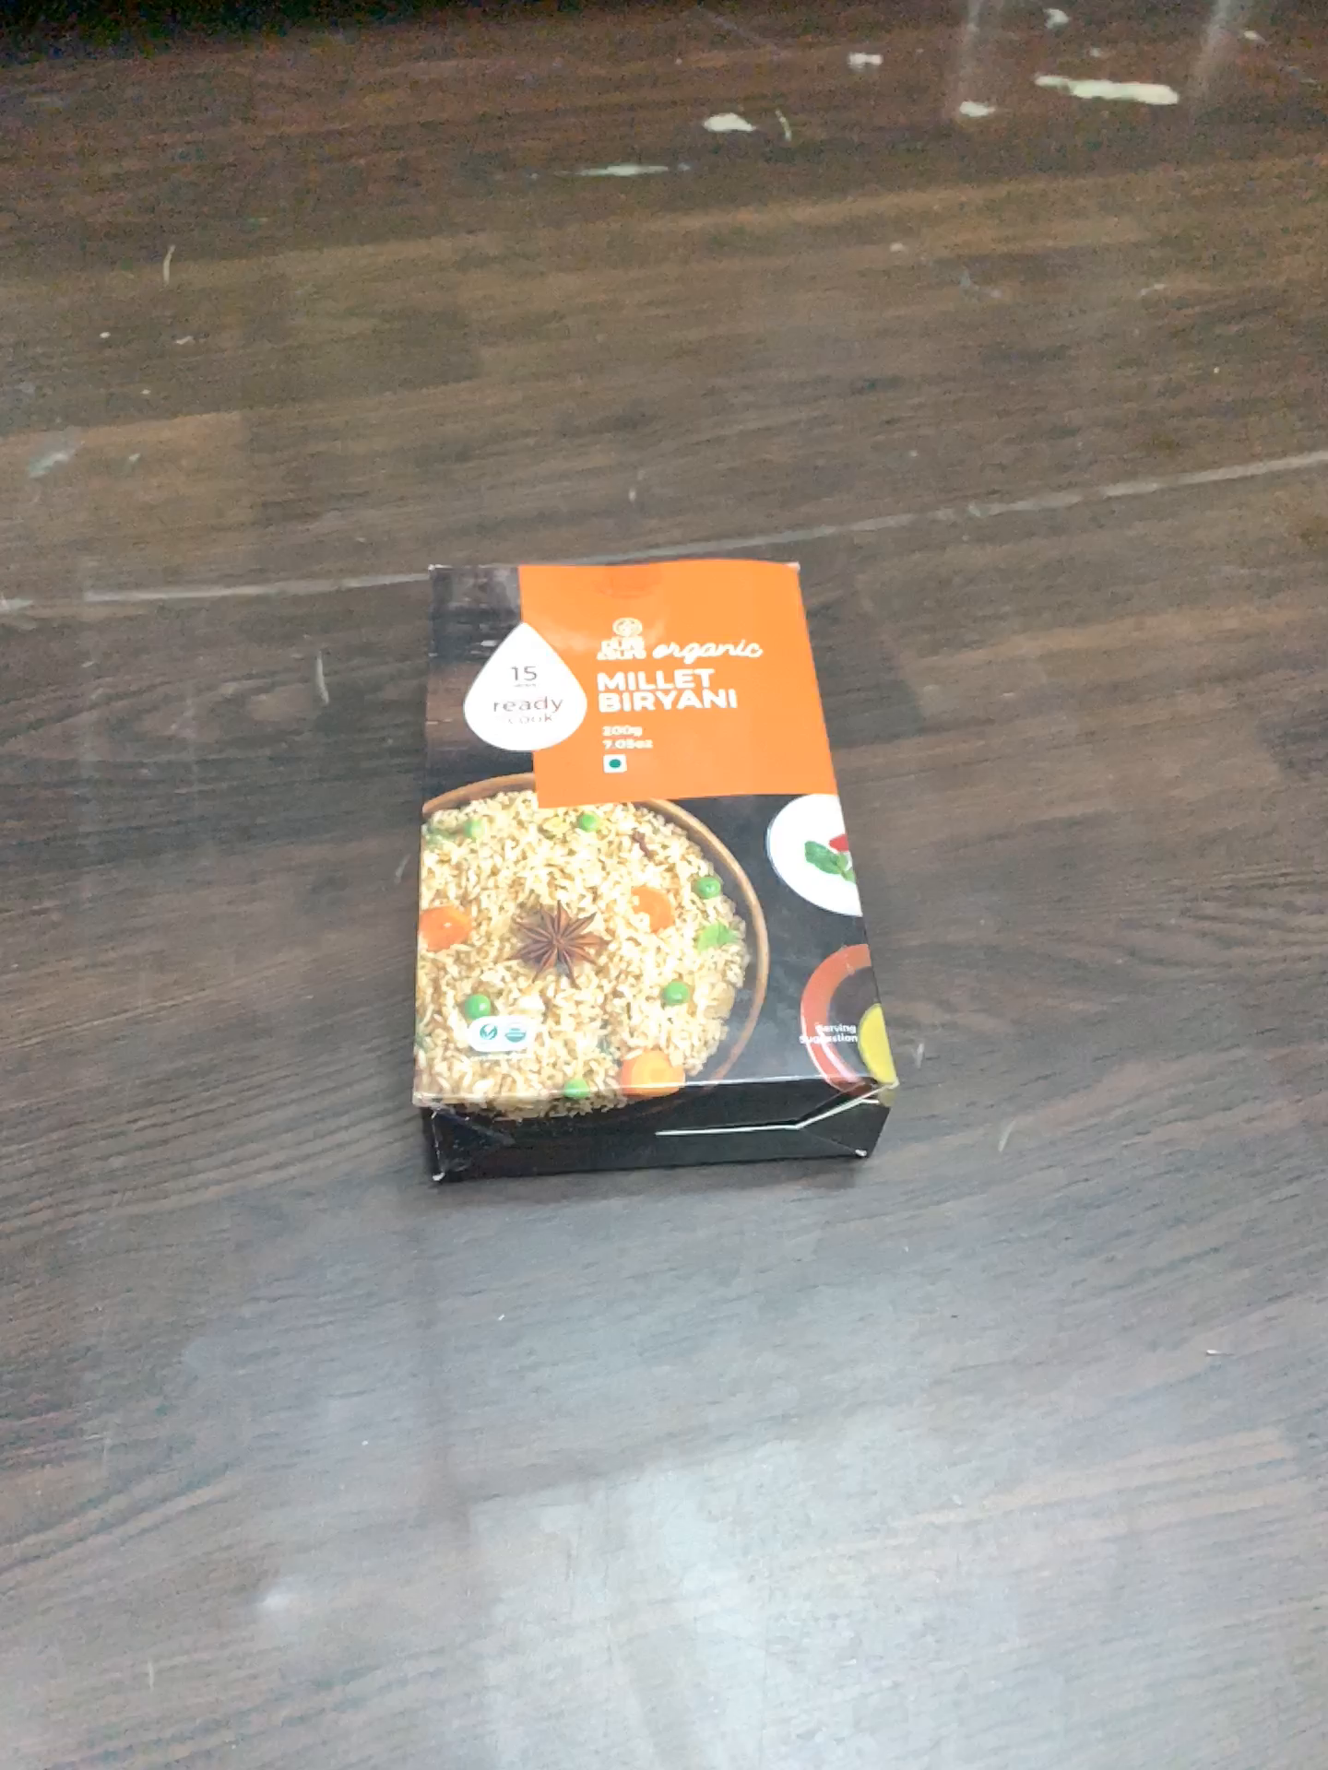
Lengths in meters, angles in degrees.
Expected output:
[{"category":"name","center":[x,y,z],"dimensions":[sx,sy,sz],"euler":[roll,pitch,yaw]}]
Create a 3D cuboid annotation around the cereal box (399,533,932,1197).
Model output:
[{"category":"cereal box","center":[-0.007,-0.013,0.351],"dimensions":[0.110,0.050,0.170],"euler":[-1,55,-6]}]
